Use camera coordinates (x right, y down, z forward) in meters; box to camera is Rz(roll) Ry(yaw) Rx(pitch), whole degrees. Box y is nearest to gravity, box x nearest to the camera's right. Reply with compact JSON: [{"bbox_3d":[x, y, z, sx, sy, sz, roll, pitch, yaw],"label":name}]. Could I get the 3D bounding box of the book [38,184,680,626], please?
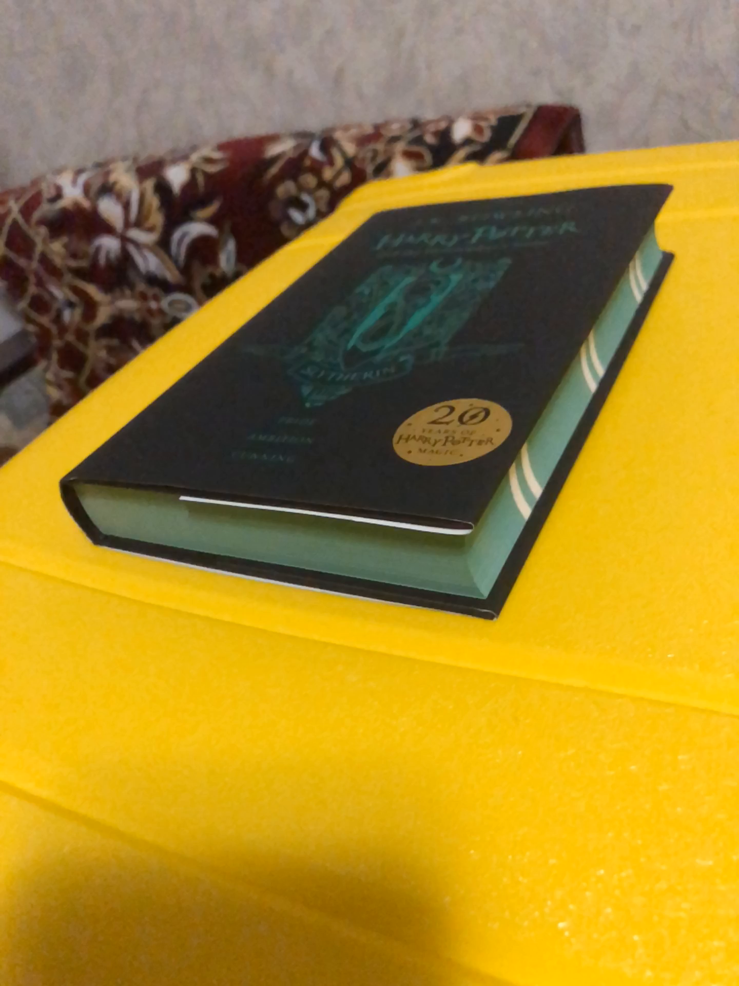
[{"bbox_3d":[0.013,-0.049,0.281,0.137,0.030,0.205,6,39,30],"label":"book"}]
